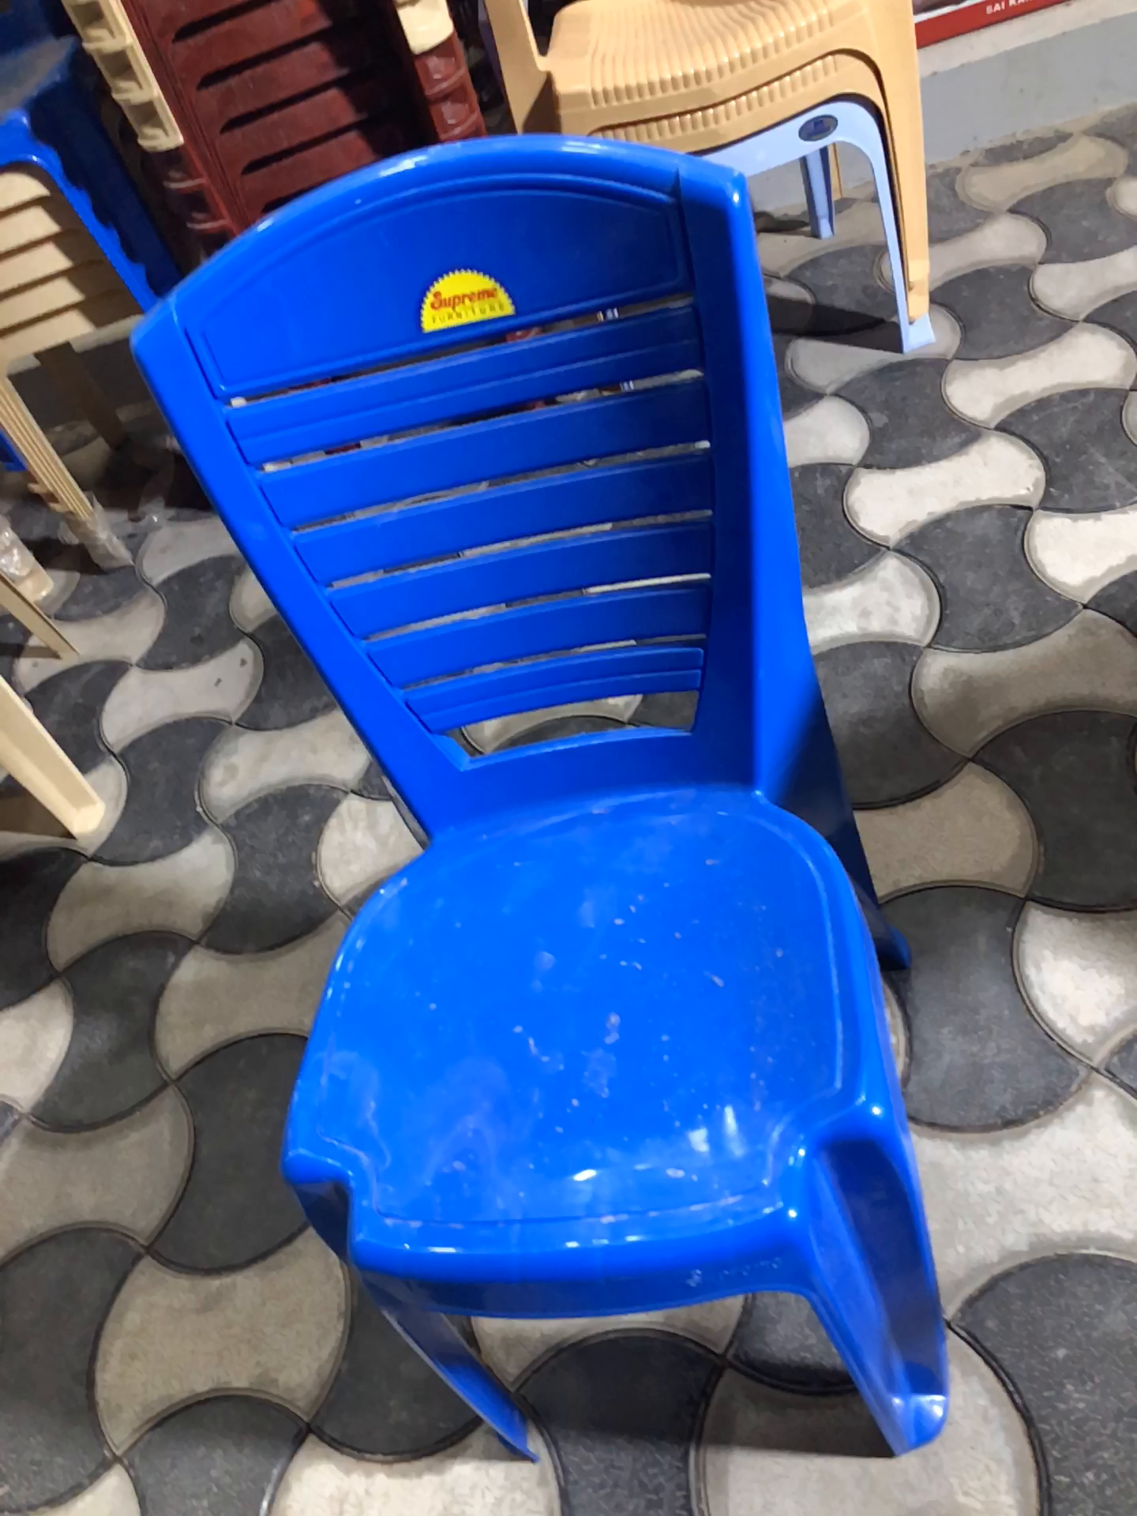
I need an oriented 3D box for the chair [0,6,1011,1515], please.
[{"bbox_3d":[-0.033,0.089,0.751,0.470,0.726,0.513,-8,45,15],"label":"chair"}]
